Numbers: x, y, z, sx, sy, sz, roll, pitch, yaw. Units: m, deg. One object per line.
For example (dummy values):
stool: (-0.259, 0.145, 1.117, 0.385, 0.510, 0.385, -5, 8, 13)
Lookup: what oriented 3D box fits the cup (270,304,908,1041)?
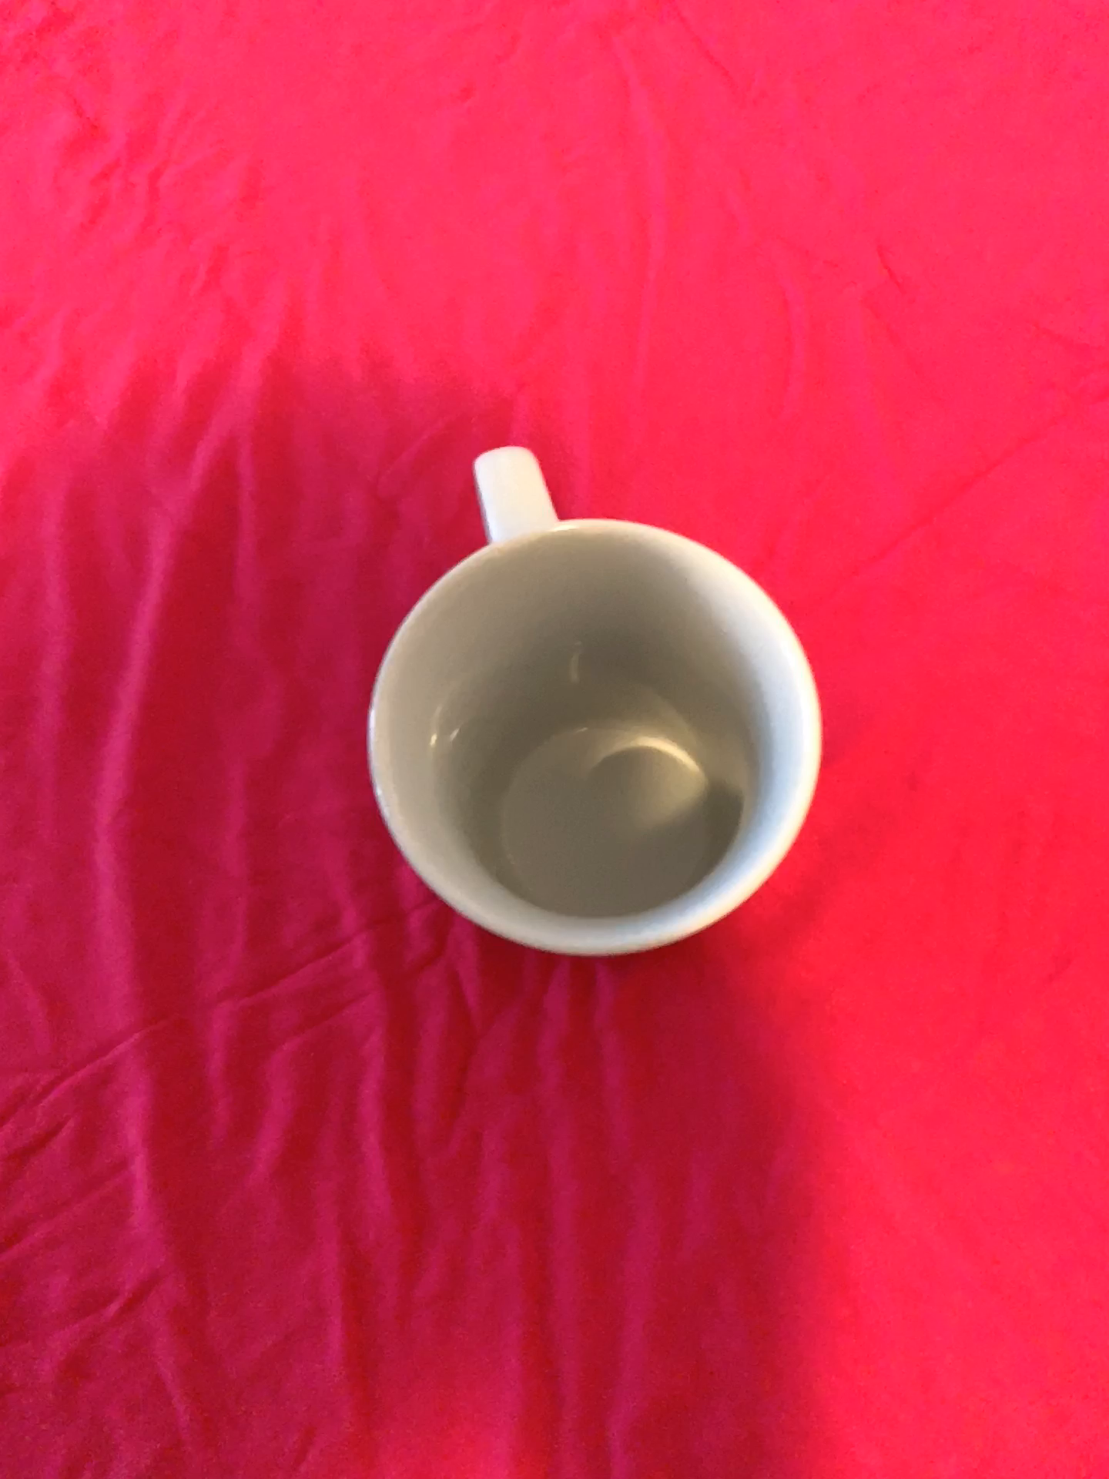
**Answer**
cup: (0.004, -0.004, 0.240, 0.080, 0.100, 0.110, -16, 73, -1)
